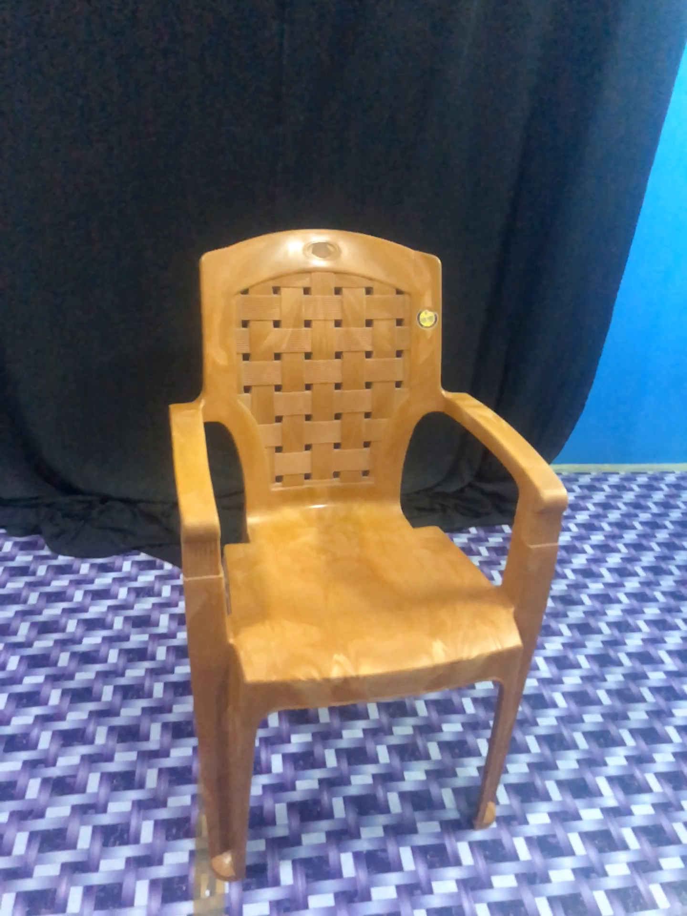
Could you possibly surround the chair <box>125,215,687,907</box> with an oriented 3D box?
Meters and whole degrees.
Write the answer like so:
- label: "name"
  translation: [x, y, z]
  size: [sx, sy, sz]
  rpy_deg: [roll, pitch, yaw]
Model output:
- label: "chair"
  translation: [-0.005, 0.099, 1.194]
  size: [0.601, 0.786, 0.663]
  rpy_deg: [-2, 29, -14]
